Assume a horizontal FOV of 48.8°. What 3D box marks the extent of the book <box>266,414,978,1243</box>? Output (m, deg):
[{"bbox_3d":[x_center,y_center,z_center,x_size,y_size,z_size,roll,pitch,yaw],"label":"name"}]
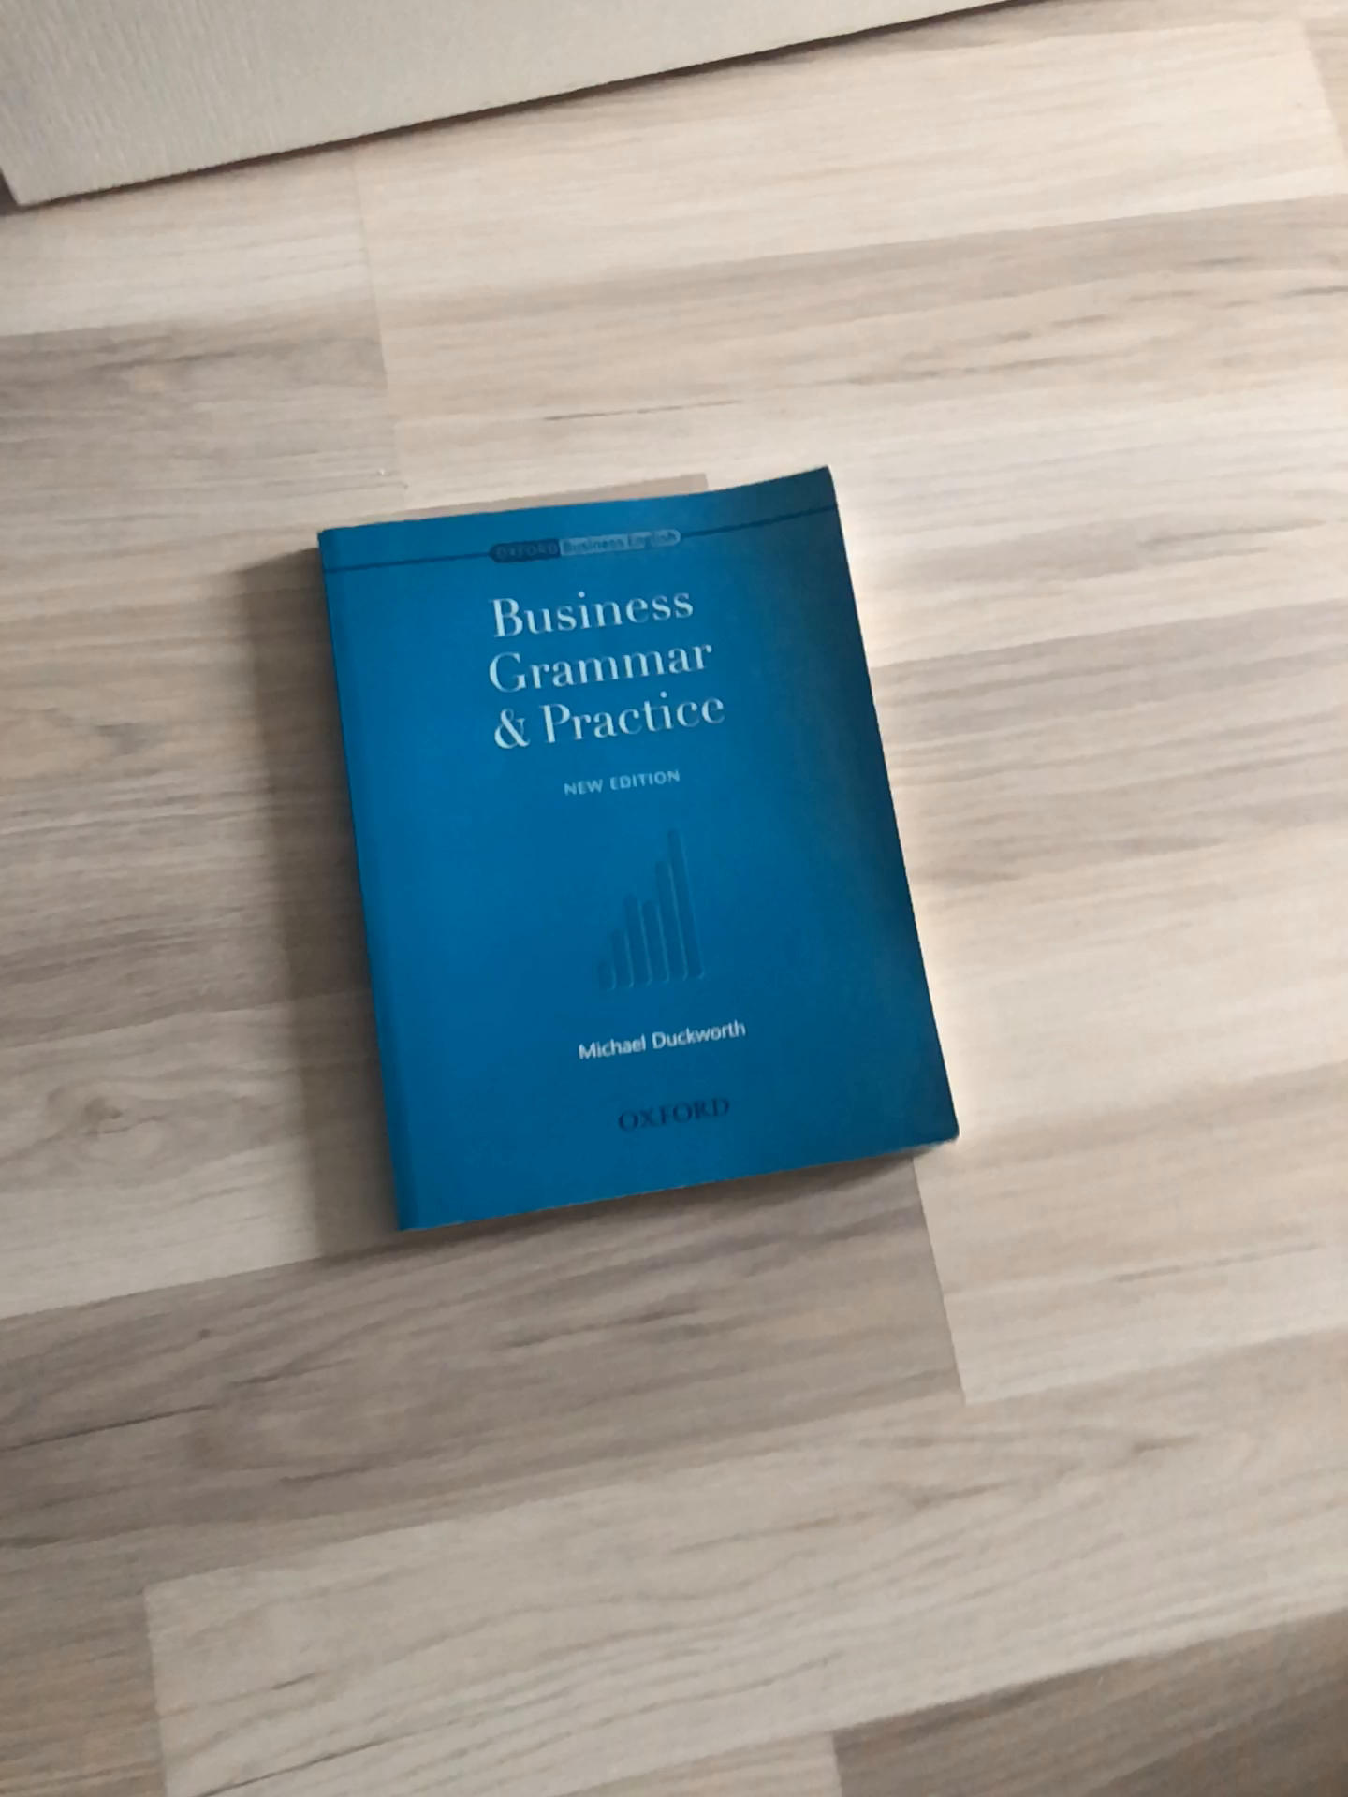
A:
[{"bbox_3d":[-0.026,-0.035,0.586,0.230,0.040,0.300,-8,78,-7],"label":"book"}]
